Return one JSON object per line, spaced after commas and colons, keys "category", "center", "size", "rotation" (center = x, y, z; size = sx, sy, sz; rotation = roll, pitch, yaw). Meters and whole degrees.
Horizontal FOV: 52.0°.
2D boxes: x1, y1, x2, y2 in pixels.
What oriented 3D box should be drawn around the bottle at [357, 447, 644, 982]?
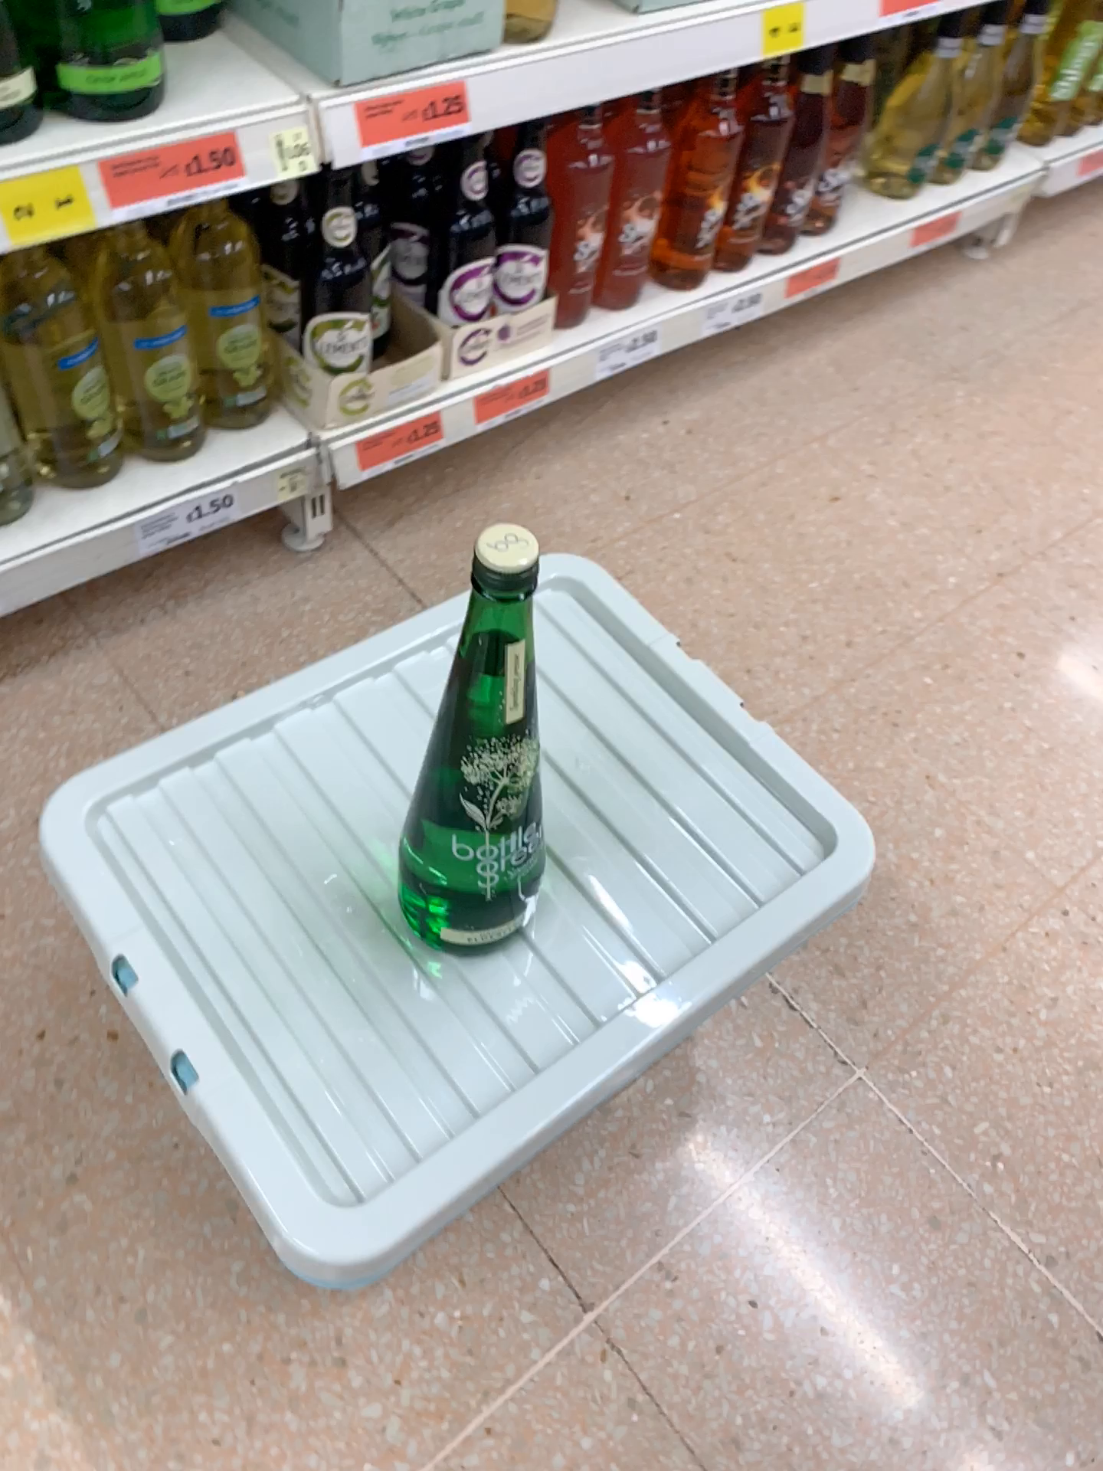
{"category": "bottle", "center": [-0.040, 0.008, 0.587], "size": [0.084, 0.298, 0.093], "rotation": [-23, 60, -24]}
